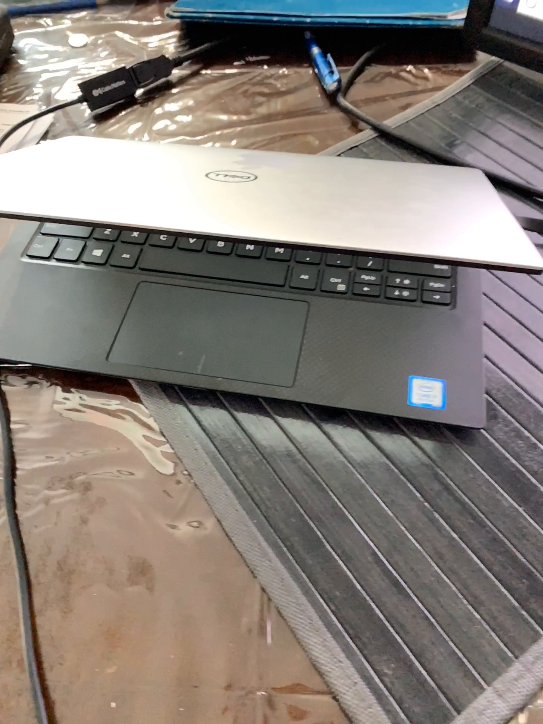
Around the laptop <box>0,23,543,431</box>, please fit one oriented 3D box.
[{"bbox_3d":[-0.024,-0.087,0.305,0.290,0.085,0.185,8,56,8],"label":"laptop"}]
